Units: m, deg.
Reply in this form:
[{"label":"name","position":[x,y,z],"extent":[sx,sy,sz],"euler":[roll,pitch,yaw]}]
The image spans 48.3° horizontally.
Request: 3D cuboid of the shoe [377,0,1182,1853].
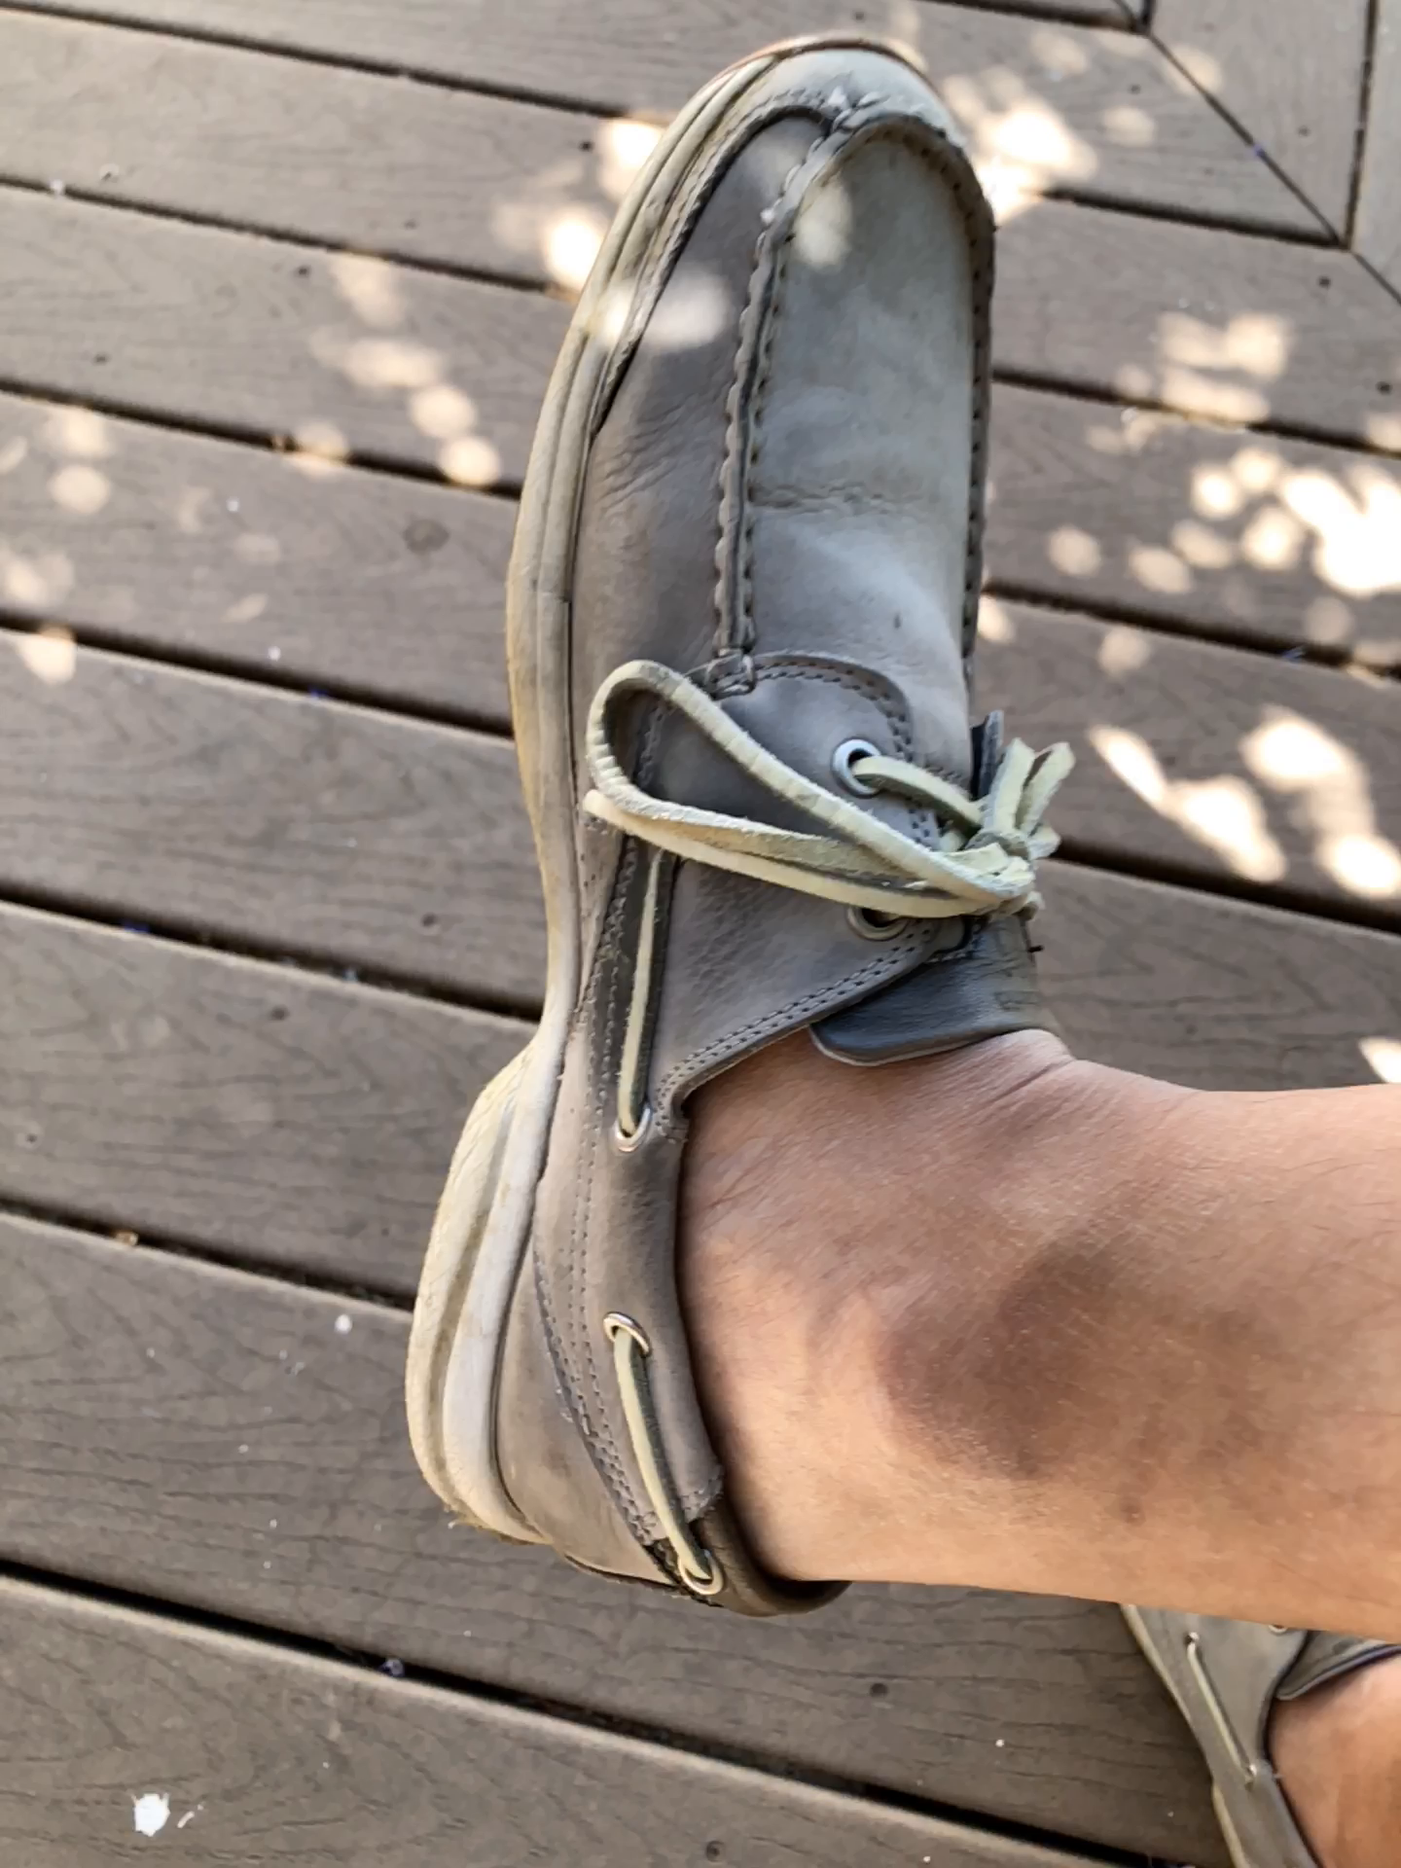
[{"label":"shoe","position":[0.020,-0.016,0.319],"extent":[0.083,0.116,0.326],"euler":[6,92,38]}]
